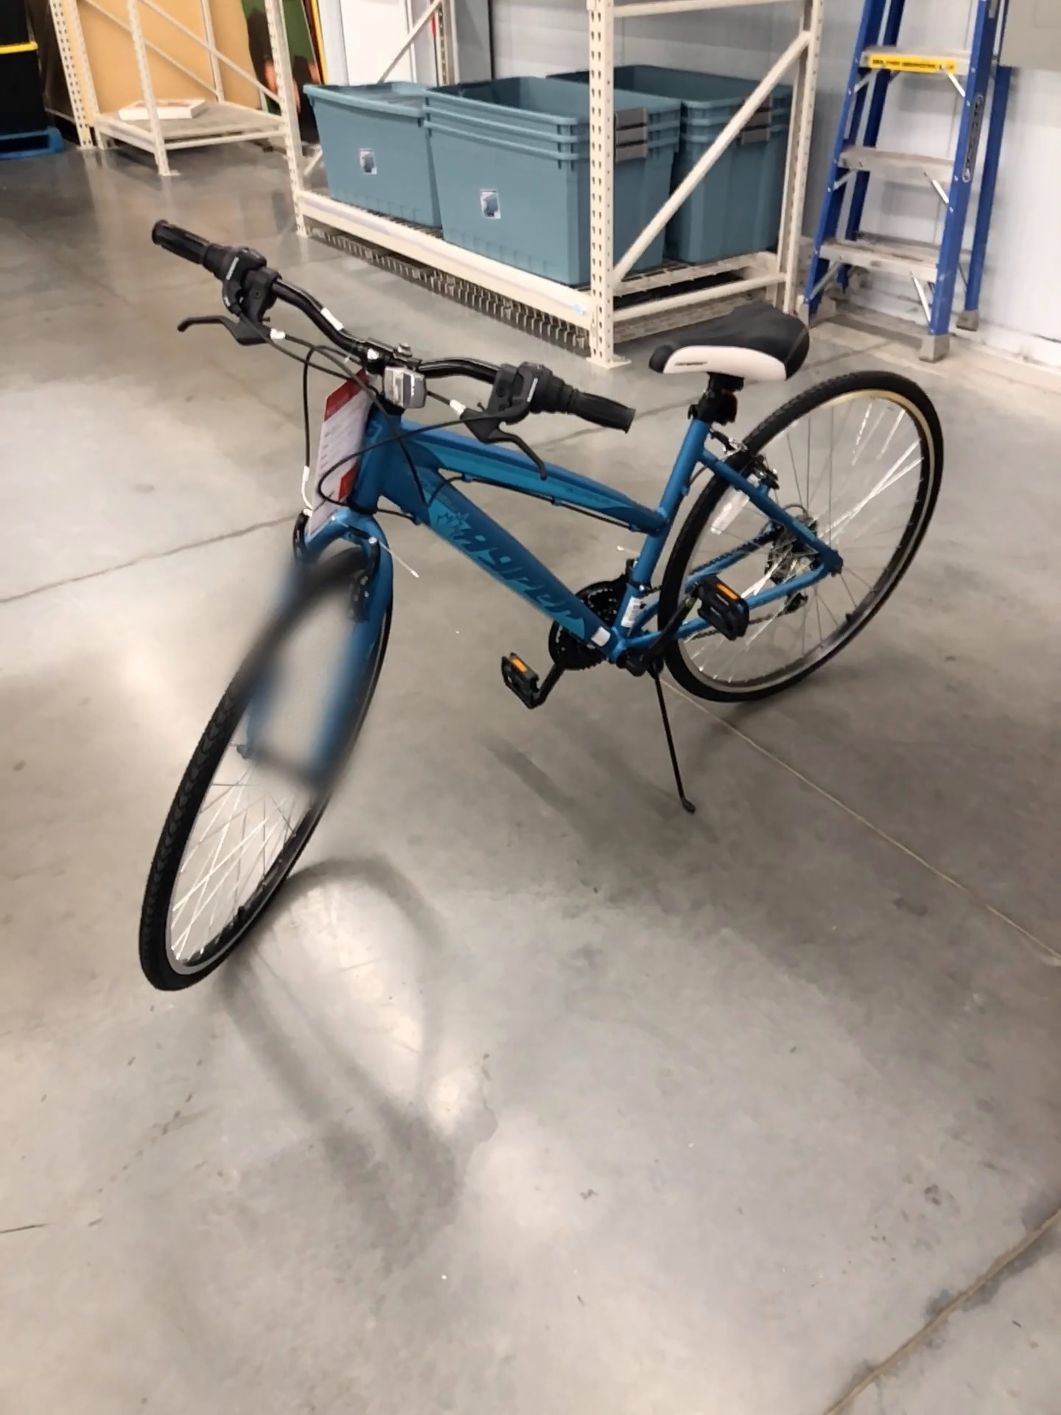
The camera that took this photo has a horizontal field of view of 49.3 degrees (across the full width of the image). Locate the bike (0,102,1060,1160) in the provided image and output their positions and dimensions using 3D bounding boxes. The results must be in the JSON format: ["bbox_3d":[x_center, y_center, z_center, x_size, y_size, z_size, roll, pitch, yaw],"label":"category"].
[{"bbox_3d":[0.123,-0.270,1.735,1.608,0.978,0.579,-26,41,-33],"label":"bike"}]
